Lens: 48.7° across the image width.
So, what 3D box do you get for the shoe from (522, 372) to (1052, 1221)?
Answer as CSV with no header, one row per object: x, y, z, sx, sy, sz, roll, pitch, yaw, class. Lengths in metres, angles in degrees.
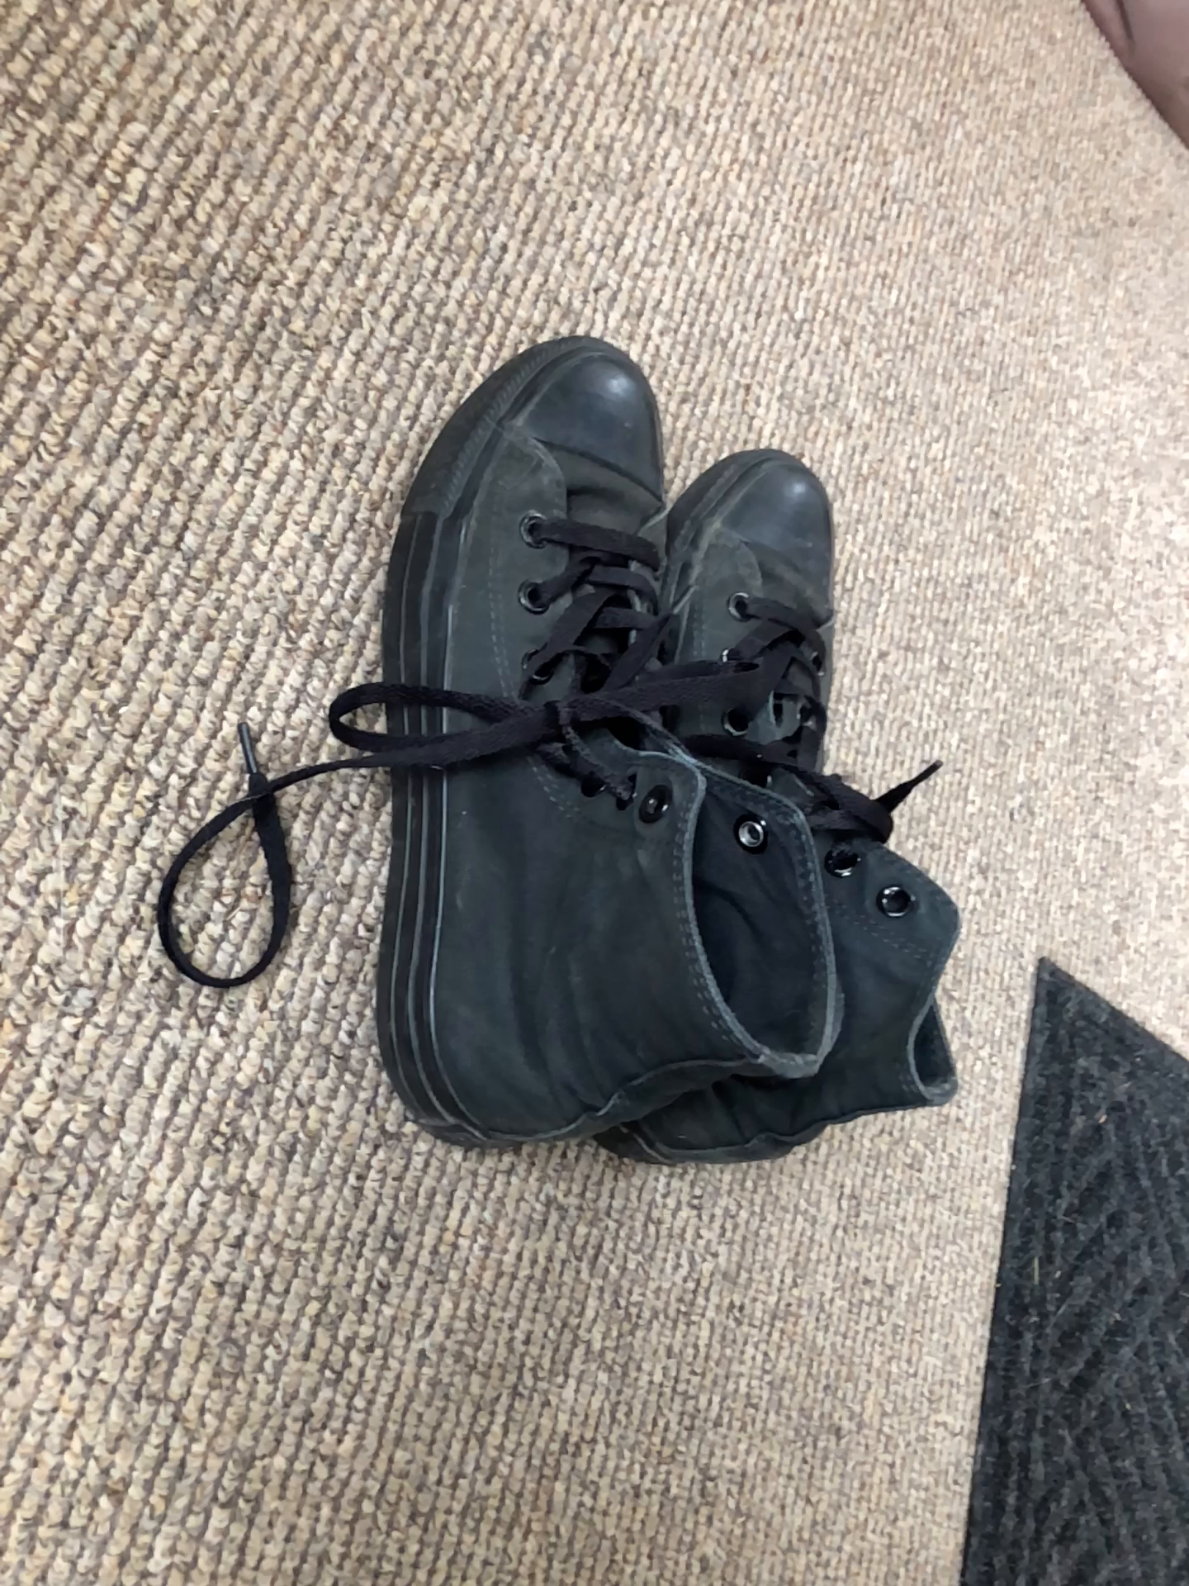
0.069,0.006,0.440,0.089,0.126,0.243,24,66,-39,shoe

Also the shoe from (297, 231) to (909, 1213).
0.006,-0.011,0.376,0.089,0.126,0.236,20,68,-40,shoe
